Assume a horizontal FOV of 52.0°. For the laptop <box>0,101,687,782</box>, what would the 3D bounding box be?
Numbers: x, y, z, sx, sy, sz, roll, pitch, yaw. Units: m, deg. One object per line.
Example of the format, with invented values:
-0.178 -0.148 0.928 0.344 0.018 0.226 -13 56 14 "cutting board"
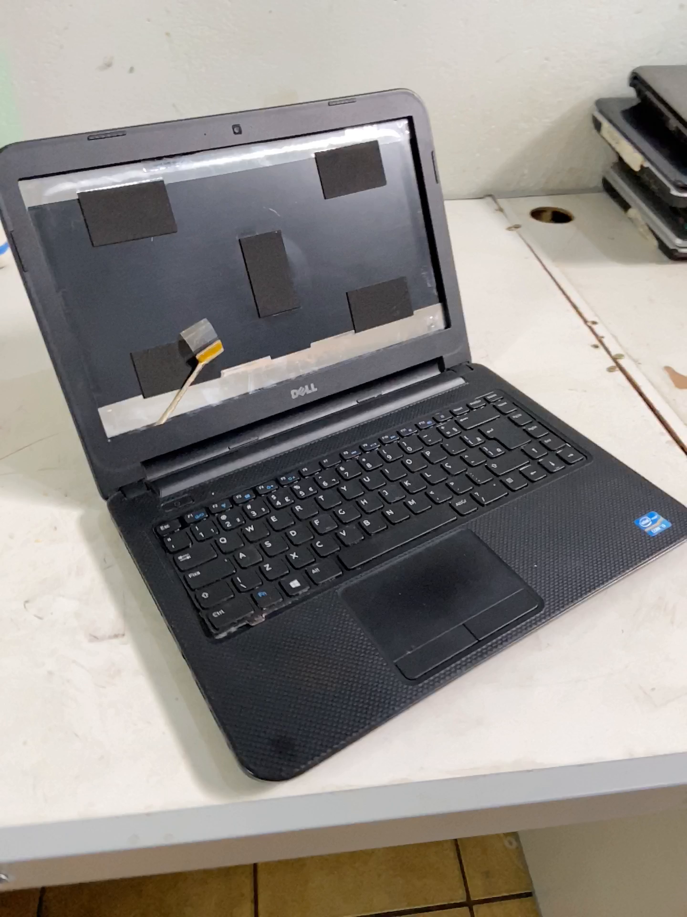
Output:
0.008 -0.065 0.449 0.320 0.193 0.336 -22 45 -24 "laptop"
